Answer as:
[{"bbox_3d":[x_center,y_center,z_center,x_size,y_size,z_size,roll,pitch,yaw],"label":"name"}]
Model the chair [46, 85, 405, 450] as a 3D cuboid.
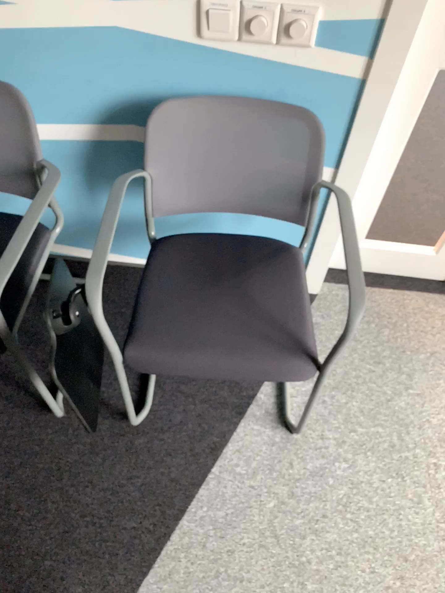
[{"bbox_3d":[0.011,-0.042,1.166,0.570,0.628,0.642,4,56,0],"label":"chair"}]
